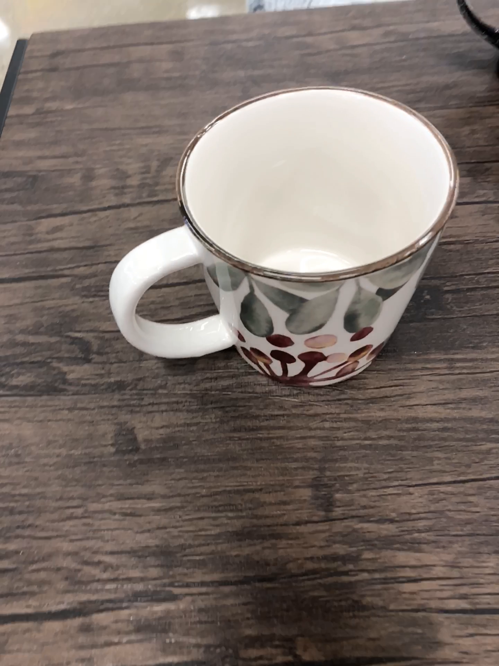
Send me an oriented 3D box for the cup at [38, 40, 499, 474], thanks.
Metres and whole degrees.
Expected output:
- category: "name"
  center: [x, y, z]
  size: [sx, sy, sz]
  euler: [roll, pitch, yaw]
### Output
- category: "cup"
  center: [0.010, -0.031, 0.248]
  size: [0.150, 0.110, 0.100]
  euler: [-23, 59, -10]
